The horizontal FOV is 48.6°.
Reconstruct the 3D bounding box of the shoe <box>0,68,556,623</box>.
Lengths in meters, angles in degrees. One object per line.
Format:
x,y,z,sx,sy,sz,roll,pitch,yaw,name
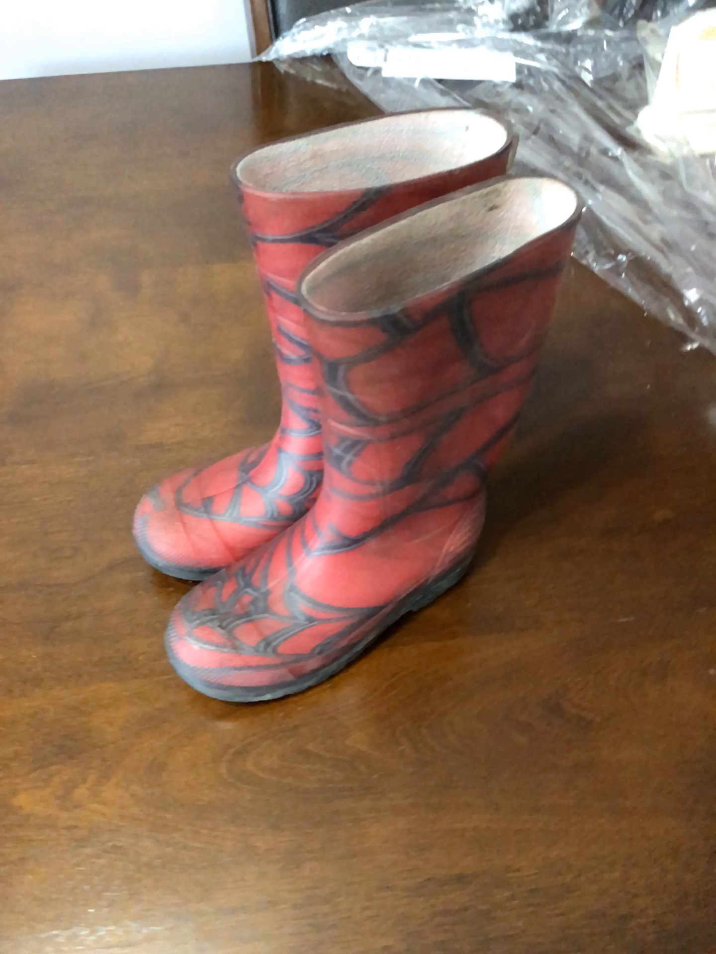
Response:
-0.035,-0.054,0.417,0.220,0.239,0.080,-20,55,-15,shoe

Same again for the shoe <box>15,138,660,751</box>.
-0.002,0.000,0.378,0.220,0.239,0.080,-25,57,-18,shoe
